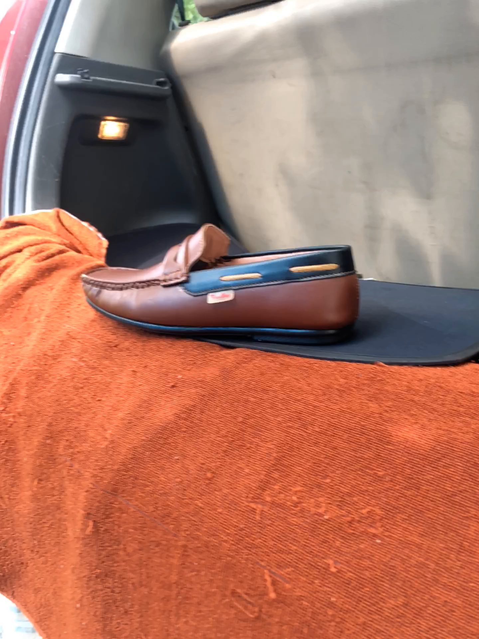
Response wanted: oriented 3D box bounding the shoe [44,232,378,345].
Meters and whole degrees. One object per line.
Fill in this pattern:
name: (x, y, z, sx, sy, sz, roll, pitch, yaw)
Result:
shoe: (-0.025, -0.032, 0.486, 0.280, 0.070, 0.111, 1, 16, 22)
